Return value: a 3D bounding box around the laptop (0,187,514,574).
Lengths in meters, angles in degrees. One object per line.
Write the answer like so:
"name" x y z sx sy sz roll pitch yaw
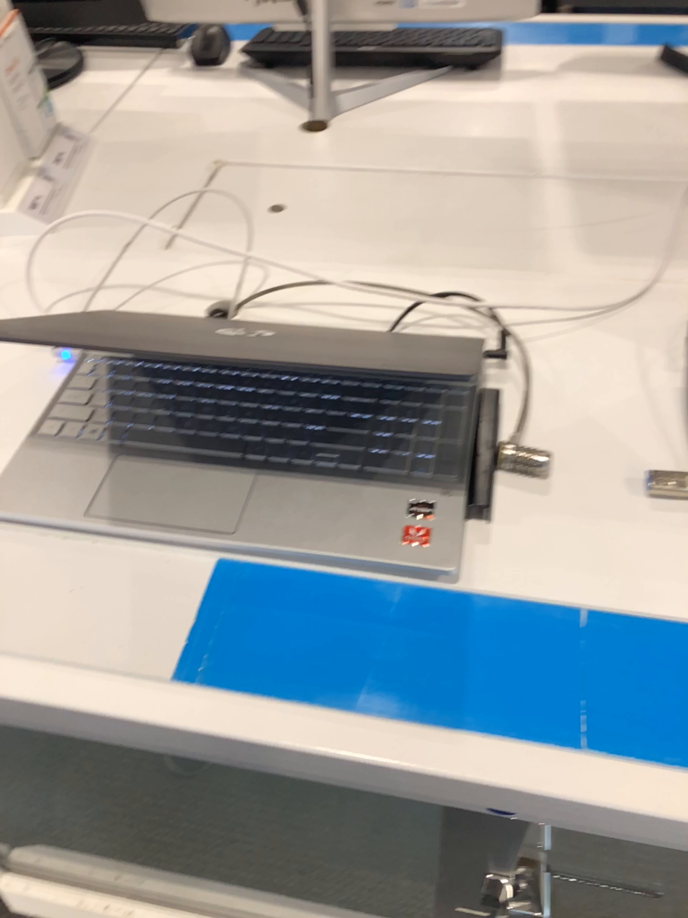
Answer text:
"laptop" -0.068 -0.073 0.555 0.350 0.134 0.231 6 49 11
